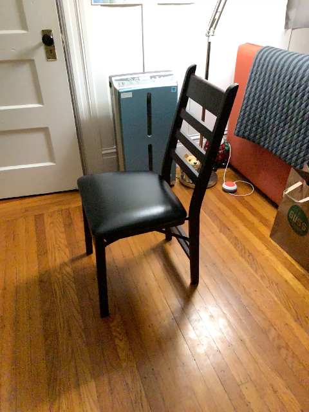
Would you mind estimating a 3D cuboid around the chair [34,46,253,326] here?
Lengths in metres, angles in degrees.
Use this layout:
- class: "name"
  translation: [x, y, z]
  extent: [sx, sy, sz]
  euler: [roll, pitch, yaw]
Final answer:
- class: "chair"
  translation: [-0.070, -0.090, 1.224]
  extent: [0.550, 0.865, 0.493]
  euler: [-13, 36, -17]
